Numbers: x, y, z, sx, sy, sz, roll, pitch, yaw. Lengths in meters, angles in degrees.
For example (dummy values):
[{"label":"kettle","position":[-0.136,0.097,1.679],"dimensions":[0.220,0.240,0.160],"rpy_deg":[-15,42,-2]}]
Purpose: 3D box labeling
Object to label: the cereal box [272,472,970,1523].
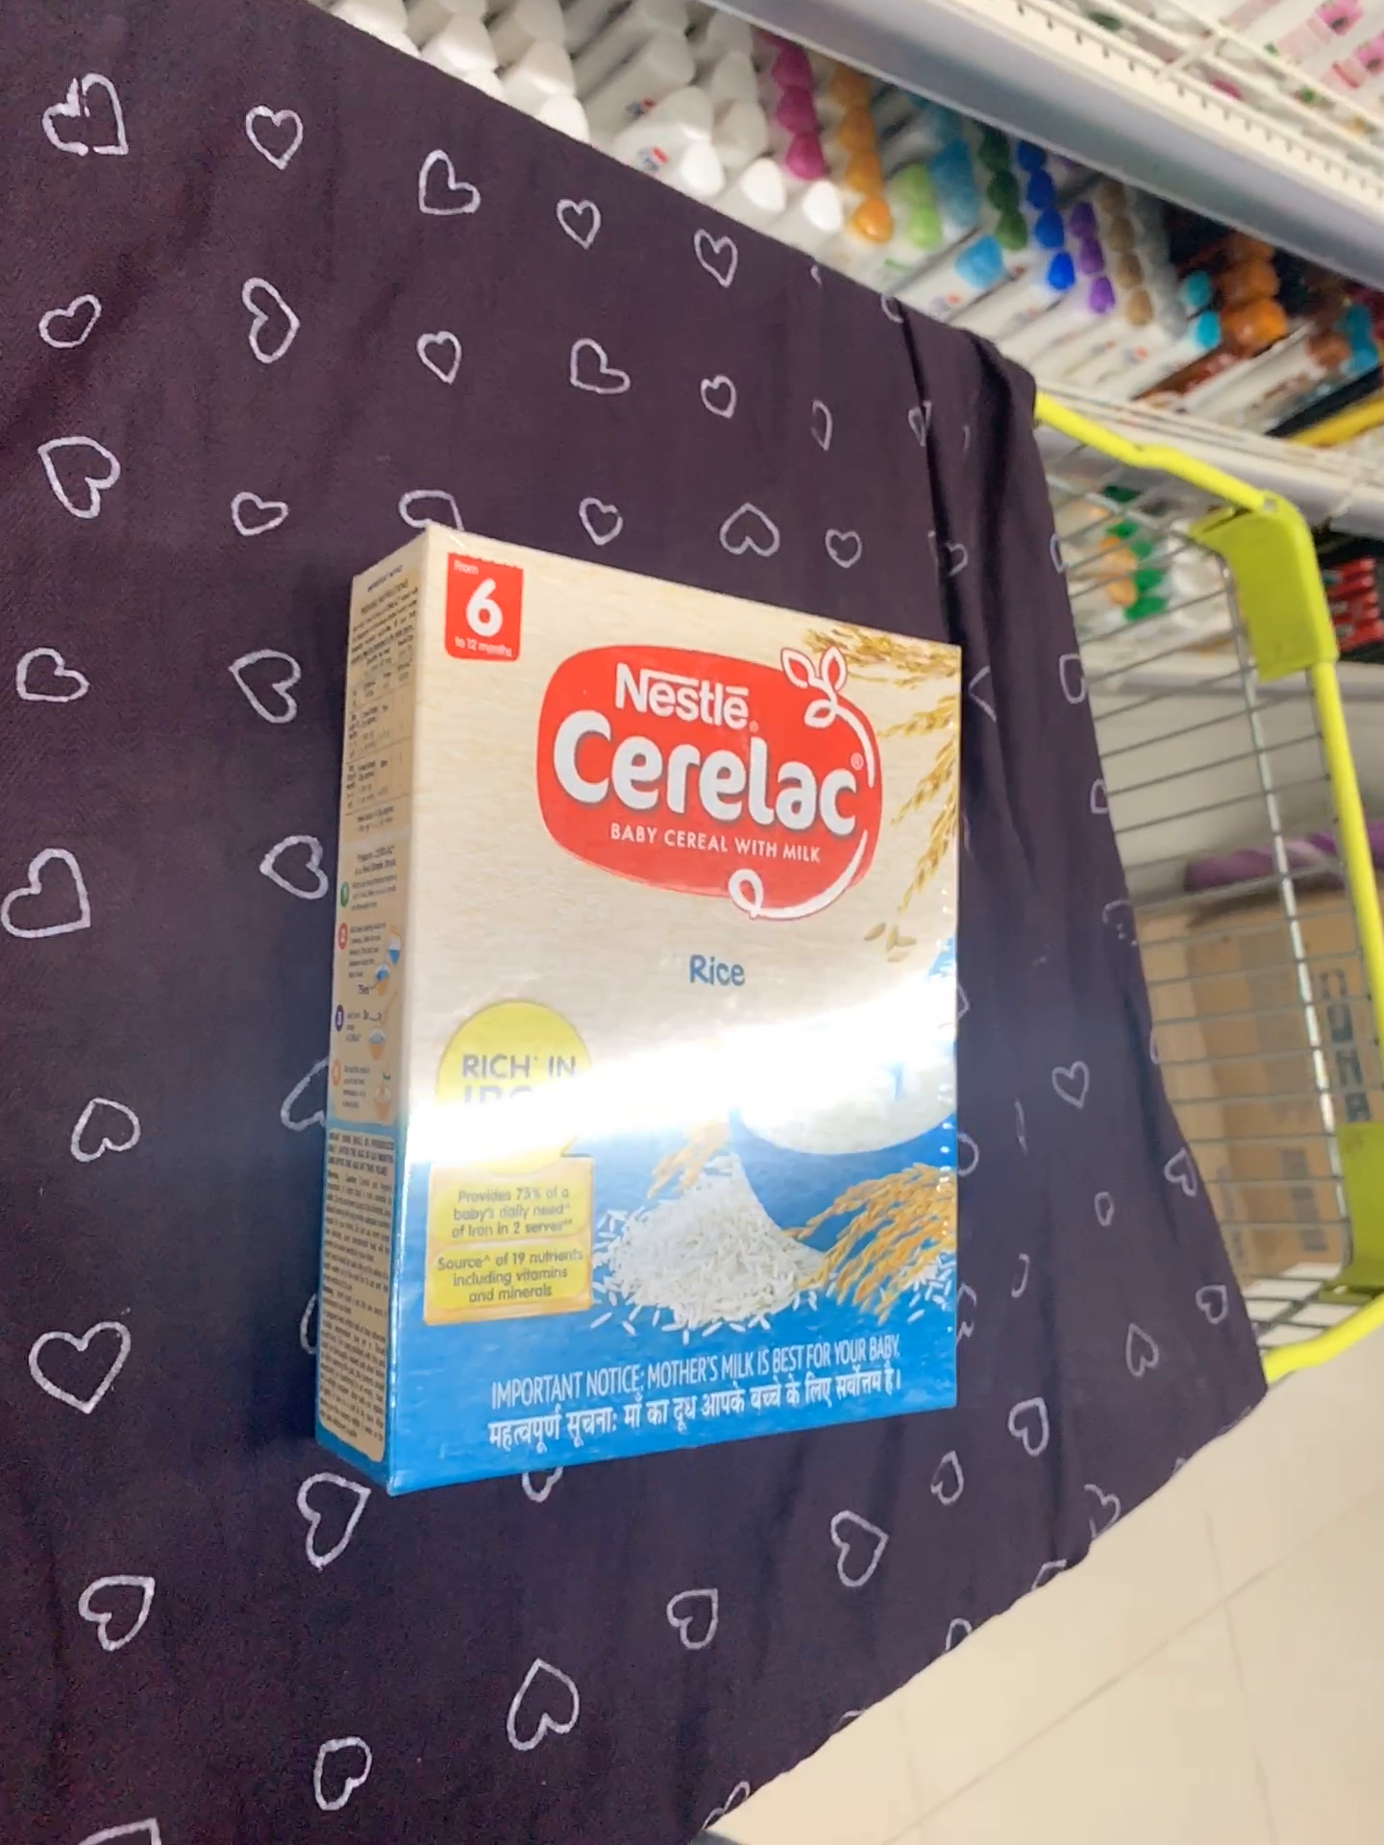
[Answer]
[{"label":"cereal box","position":[-0.008,0.017,0.334],"dimensions":[0.161,0.040,0.200],"rpy_deg":[4,83,-34]}]
